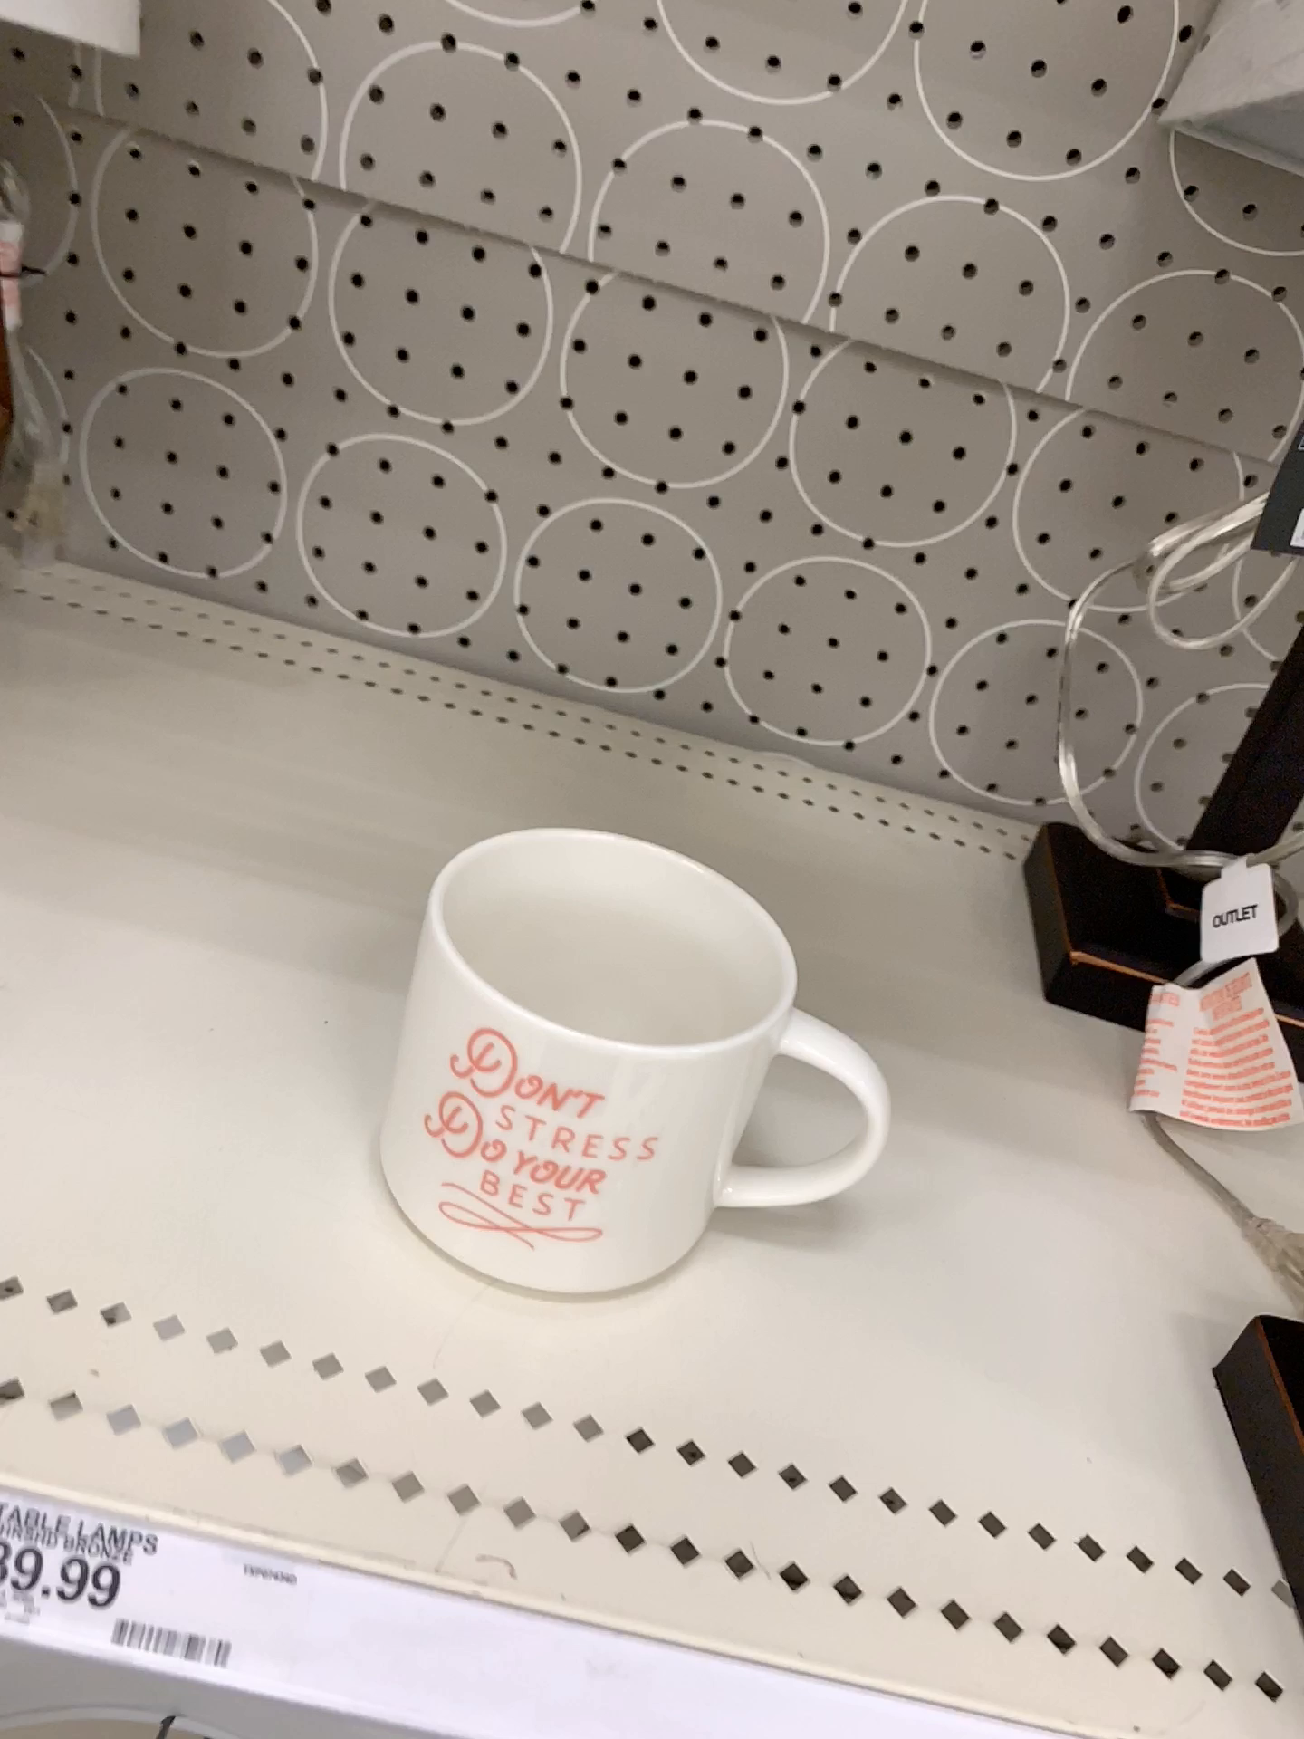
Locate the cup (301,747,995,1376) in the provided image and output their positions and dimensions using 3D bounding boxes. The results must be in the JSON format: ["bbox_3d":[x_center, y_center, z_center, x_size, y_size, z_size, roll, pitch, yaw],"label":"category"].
[{"bbox_3d":[0.000,0.048,0.365,0.150,0.090,0.101,16,31,-1],"label":"cup"}]
